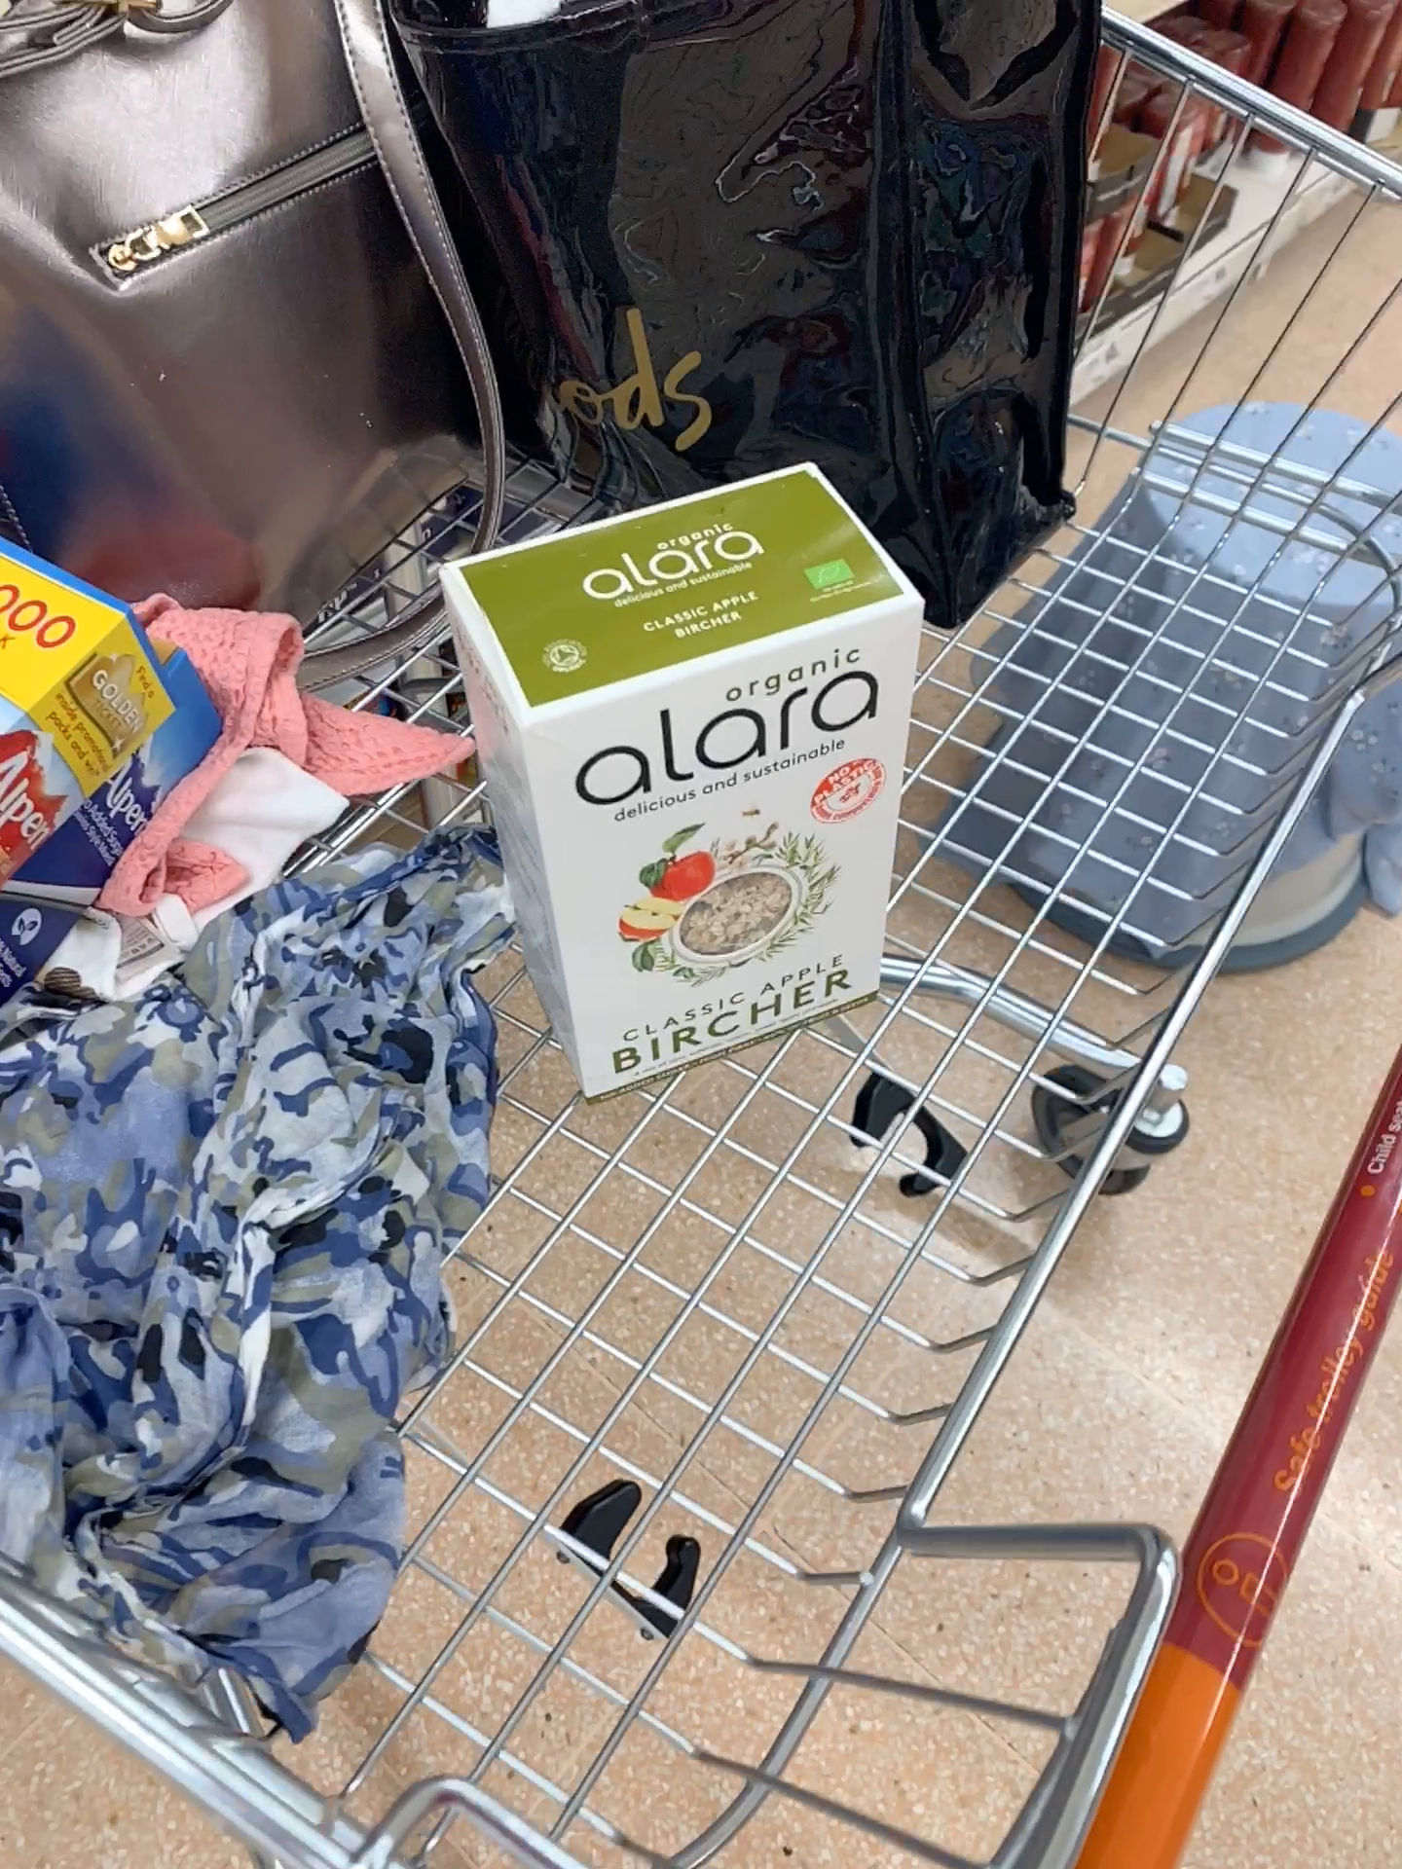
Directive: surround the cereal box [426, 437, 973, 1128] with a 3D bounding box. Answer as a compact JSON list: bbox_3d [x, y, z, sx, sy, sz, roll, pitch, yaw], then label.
[{"bbox_3d":[-0.002,-0.039,0.442,0.120,0.179,0.081,-18,54,-14],"label":"cereal box"}]
